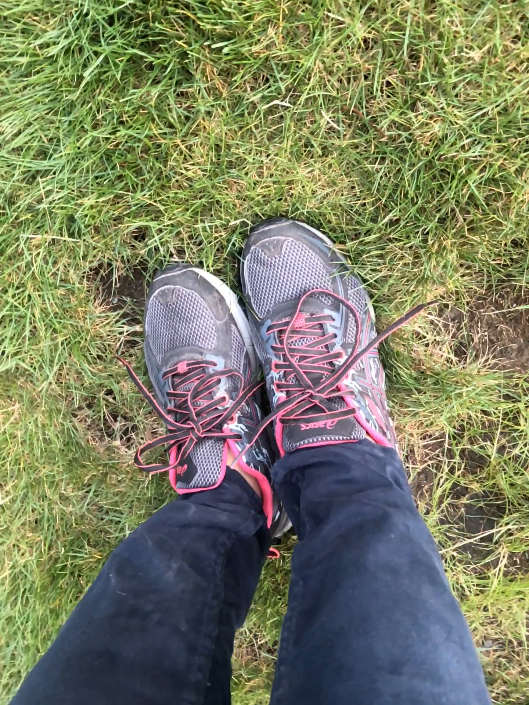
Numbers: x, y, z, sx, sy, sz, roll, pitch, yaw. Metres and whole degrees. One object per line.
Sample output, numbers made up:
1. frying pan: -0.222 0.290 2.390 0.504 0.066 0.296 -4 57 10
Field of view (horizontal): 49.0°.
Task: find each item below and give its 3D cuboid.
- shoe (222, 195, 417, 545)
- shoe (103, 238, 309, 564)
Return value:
1. shoe: 0.052 0.010 0.484 0.090 0.120 0.250 -12 98 12
2. shoe: -0.041 0.035 0.505 0.088 0.120 0.245 -12 96 15
